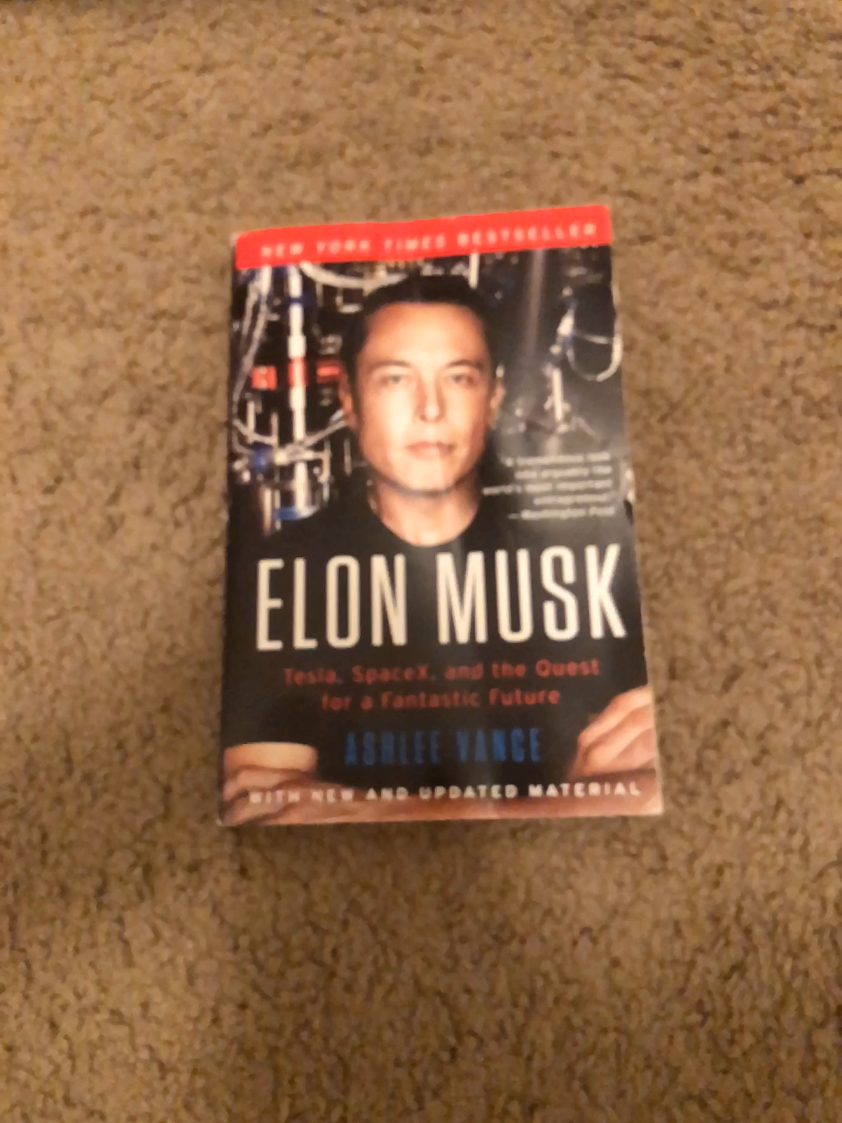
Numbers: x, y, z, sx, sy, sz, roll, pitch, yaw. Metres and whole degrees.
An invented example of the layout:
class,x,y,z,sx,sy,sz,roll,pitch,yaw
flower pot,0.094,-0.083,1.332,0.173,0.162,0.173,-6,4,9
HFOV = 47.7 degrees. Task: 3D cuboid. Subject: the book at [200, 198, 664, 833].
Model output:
class,x,y,z,sx,sy,sz,roll,pitch,yaw
book,0.002,-0.016,0.317,0.136,0.033,0.202,-2,76,6
